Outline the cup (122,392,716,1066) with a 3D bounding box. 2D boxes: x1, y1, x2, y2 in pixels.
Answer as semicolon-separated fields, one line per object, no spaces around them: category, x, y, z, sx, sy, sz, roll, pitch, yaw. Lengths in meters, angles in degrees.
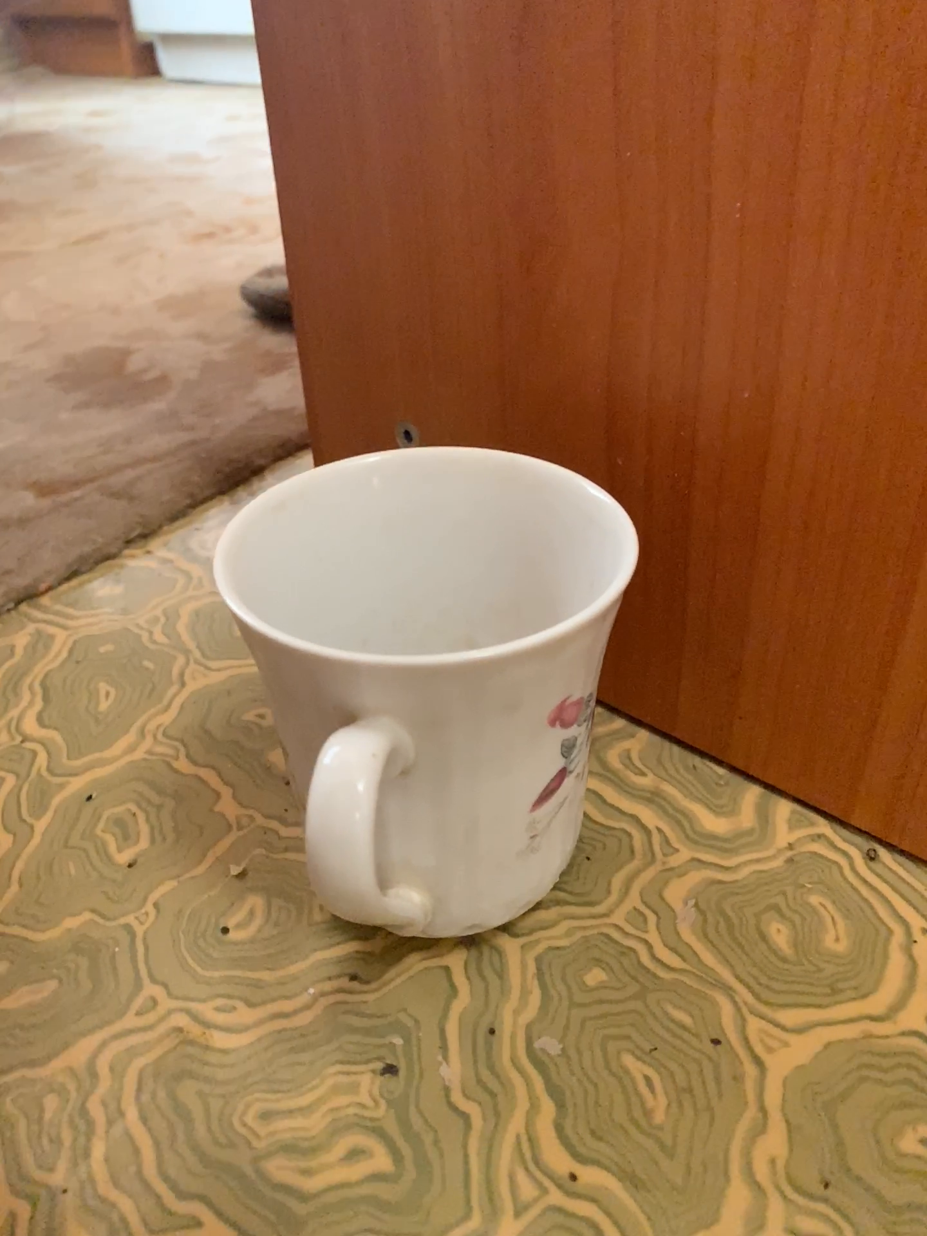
cup;-0.007;0.015;0.213;0.086;0.086;0.119;-3;34;-1
